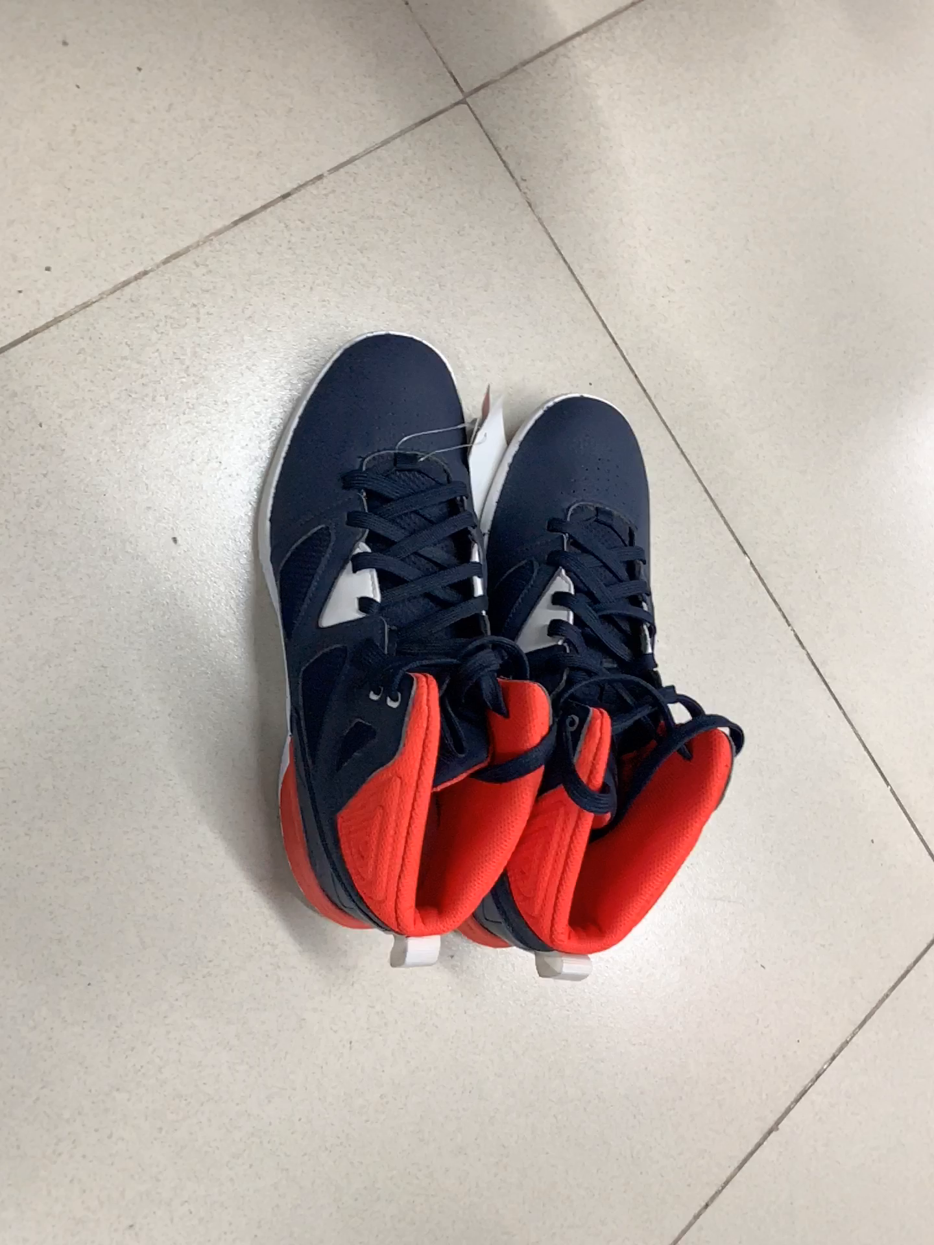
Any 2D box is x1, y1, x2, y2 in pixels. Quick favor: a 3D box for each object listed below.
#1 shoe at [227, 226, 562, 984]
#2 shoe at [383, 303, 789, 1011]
[{"bbox_3d":[-0.036,-0.004,0.429,0.110,0.100,0.290,5,86,-20],"label":"shoe"},{"bbox_3d":[0.054,0.019,0.469,0.110,0.120,0.290,12,83,-19],"label":"shoe"}]
